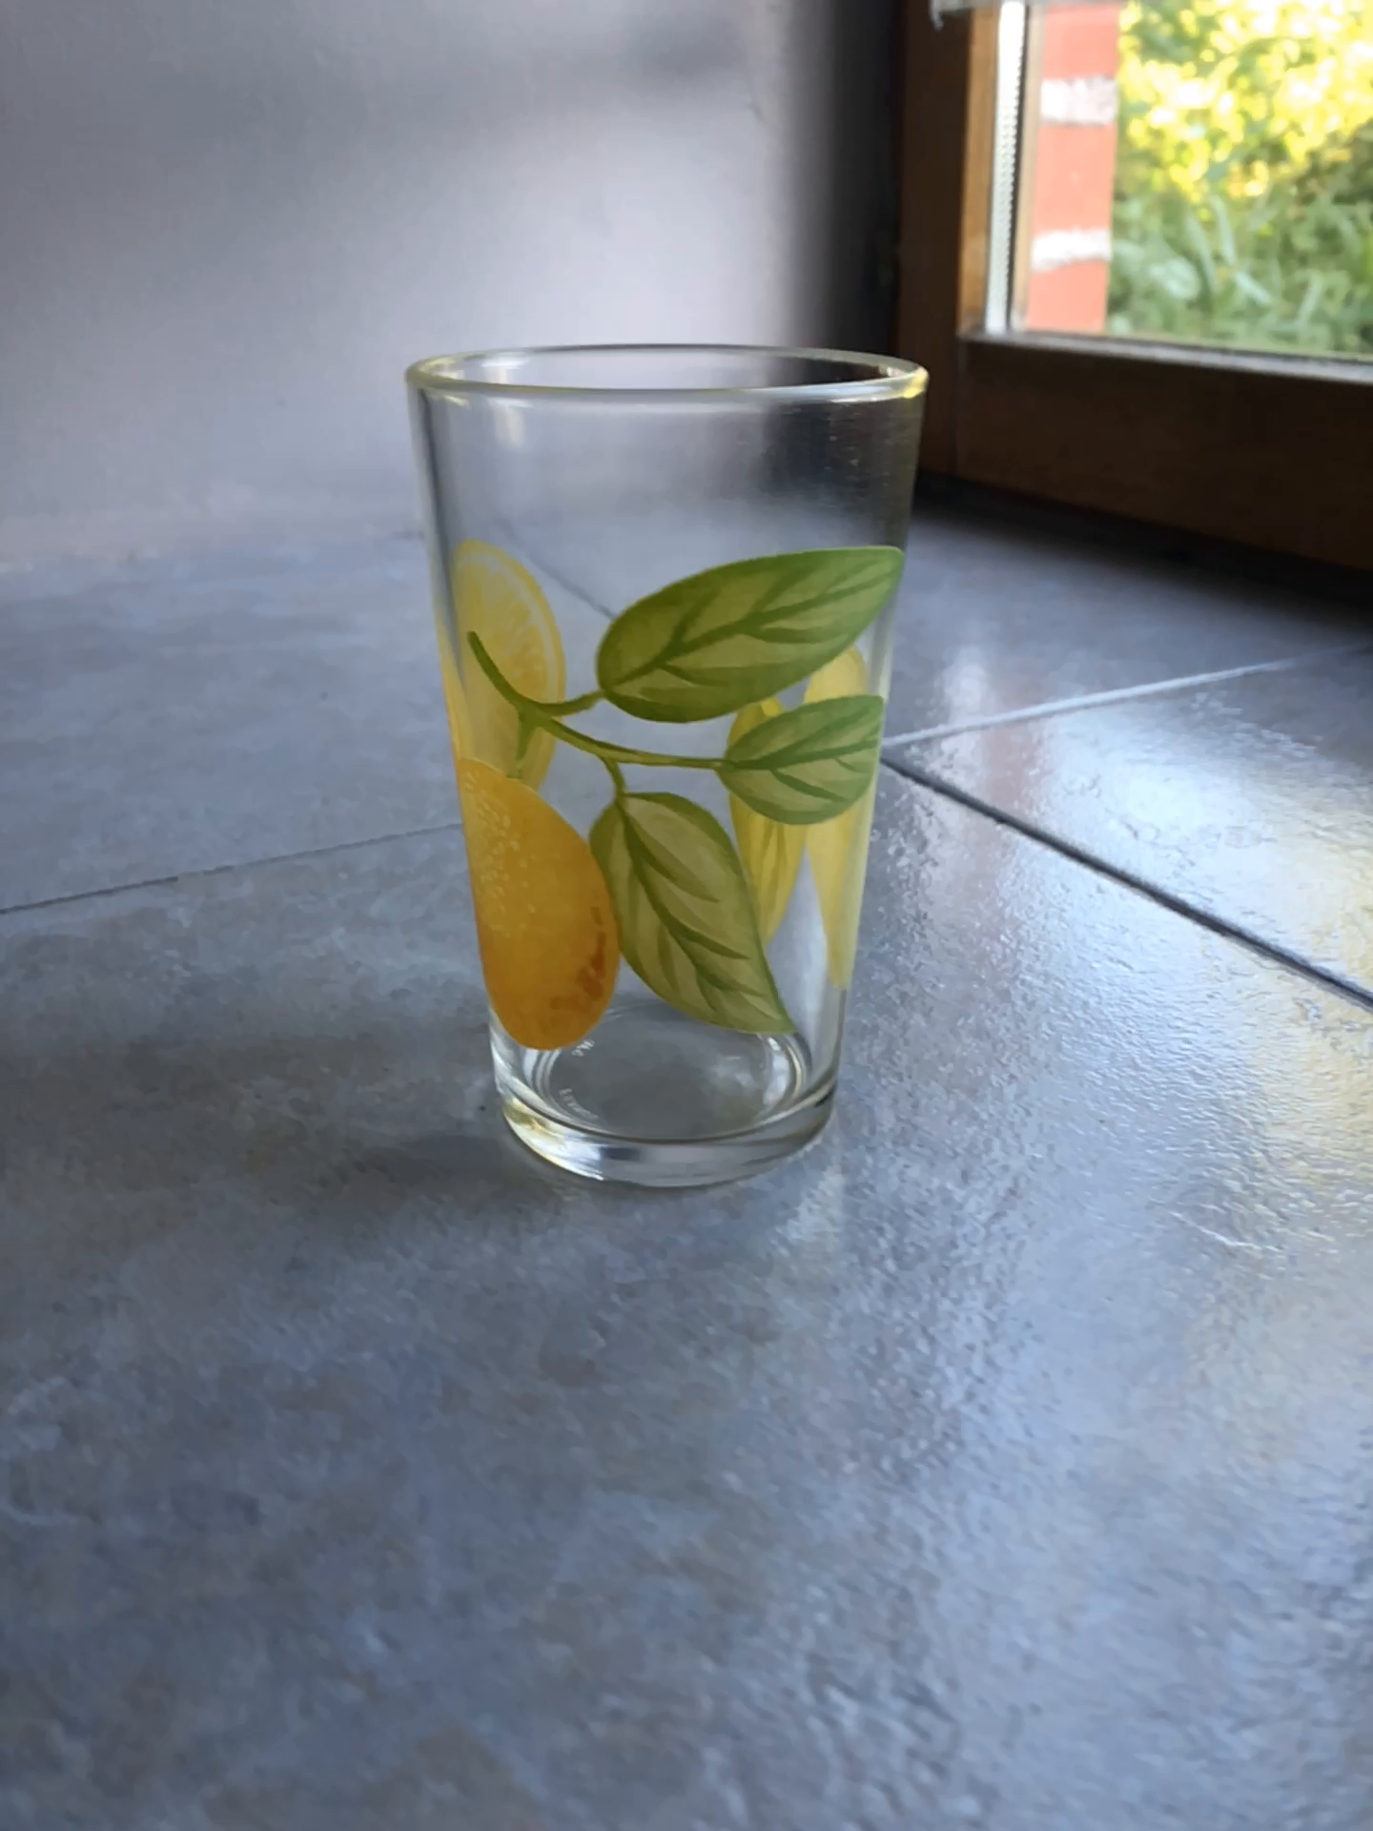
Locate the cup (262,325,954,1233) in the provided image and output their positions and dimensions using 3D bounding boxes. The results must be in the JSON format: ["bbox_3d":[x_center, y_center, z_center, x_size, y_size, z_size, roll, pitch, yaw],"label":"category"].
[{"bbox_3d":[-0.006,-0.026,0.231,0.069,0.112,0.070,-2,25,1],"label":"cup"}]
